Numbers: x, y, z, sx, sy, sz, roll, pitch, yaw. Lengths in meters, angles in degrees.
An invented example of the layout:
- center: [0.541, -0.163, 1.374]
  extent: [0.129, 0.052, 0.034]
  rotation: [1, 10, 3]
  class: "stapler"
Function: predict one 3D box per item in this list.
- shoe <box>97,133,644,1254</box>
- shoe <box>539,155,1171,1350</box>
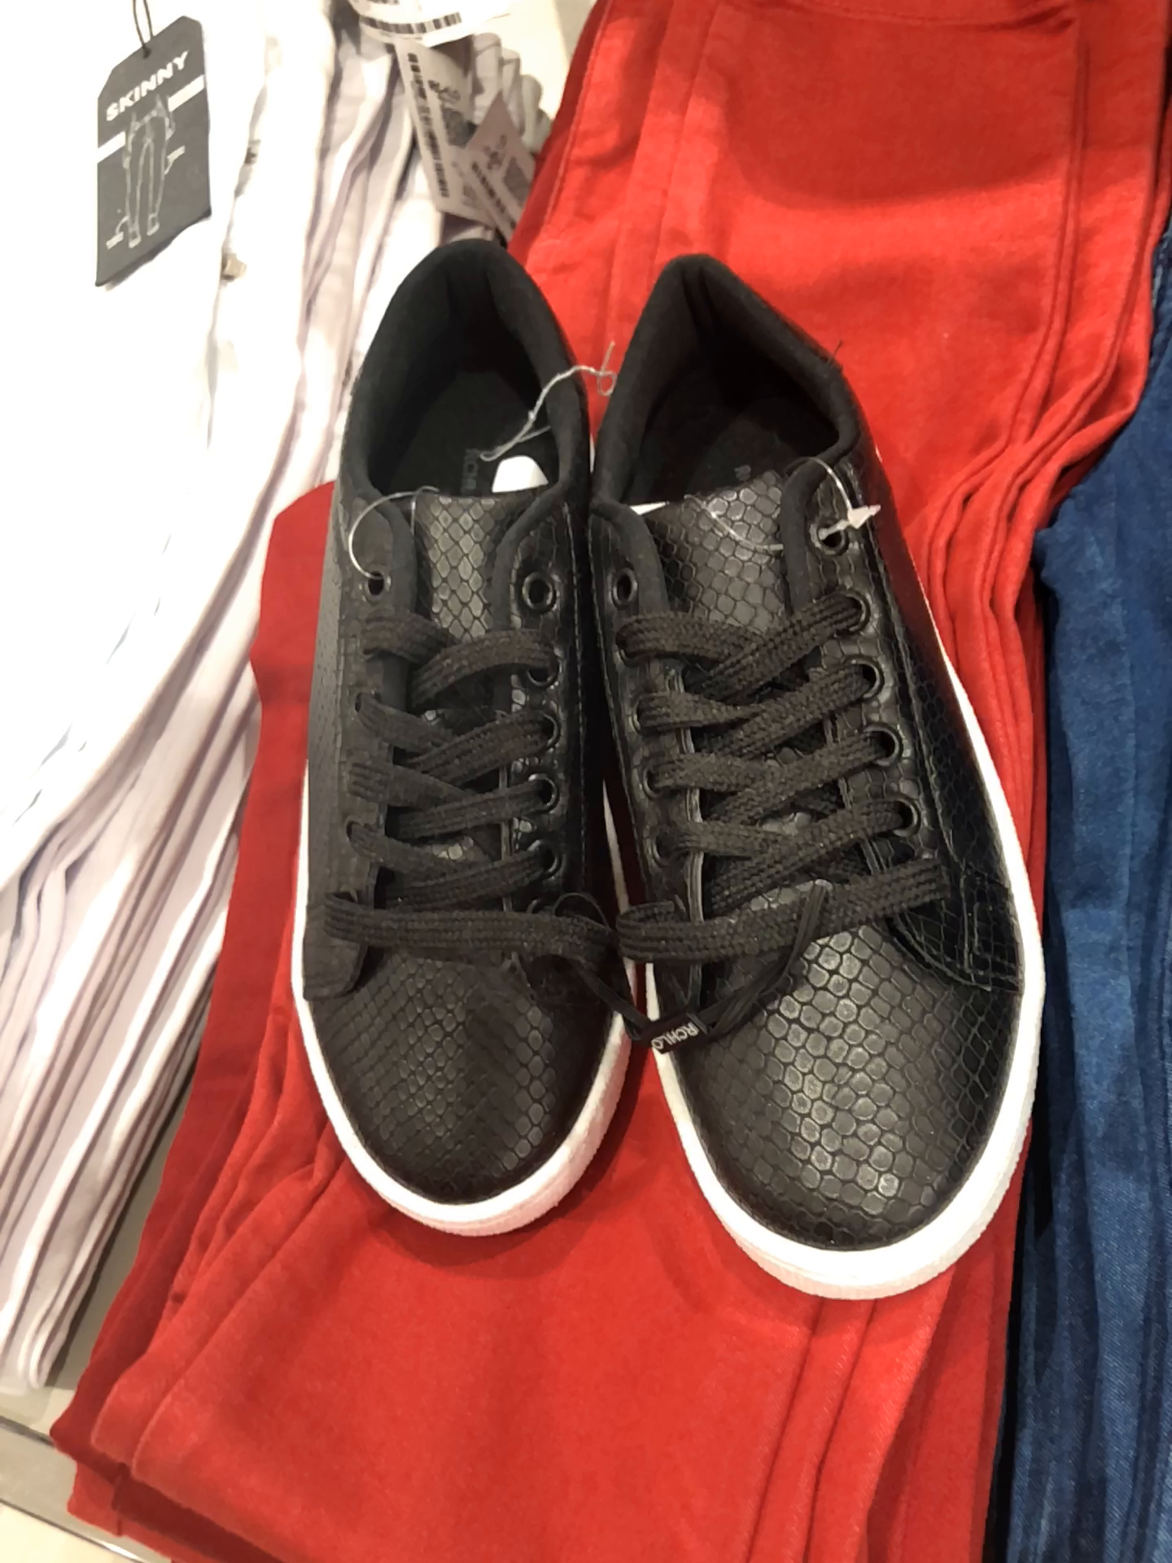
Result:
- center: [-0.036, -0.018, 0.319]
  extent: [0.090, 0.100, 0.251]
  rotation: [-2, 70, 7]
  class: "shoe"
- center: [0.049, -0.017, 0.300]
  extent: [0.090, 0.099, 0.251]
  rotation: [-9, 56, 8]
  class: "shoe"
